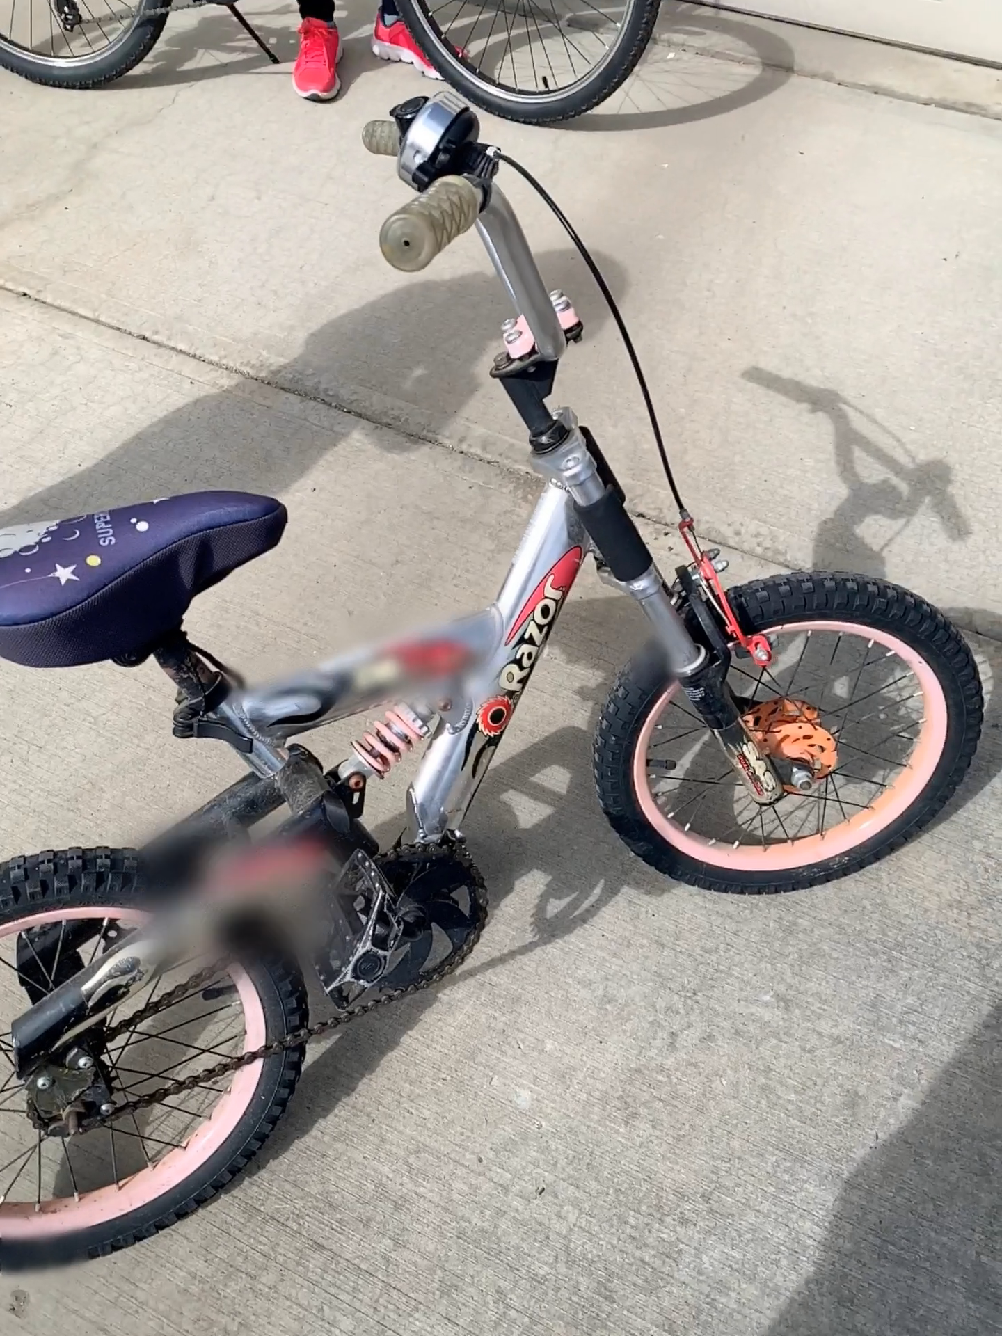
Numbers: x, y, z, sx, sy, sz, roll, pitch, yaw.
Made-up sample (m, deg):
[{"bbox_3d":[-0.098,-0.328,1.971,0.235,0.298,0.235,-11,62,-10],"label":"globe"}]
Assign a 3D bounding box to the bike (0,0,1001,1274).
[{"bbox_3d":[-0.076,-0.044,0.861,1.124,0.691,0.359,-23,55,-20],"label":"bike"}]
